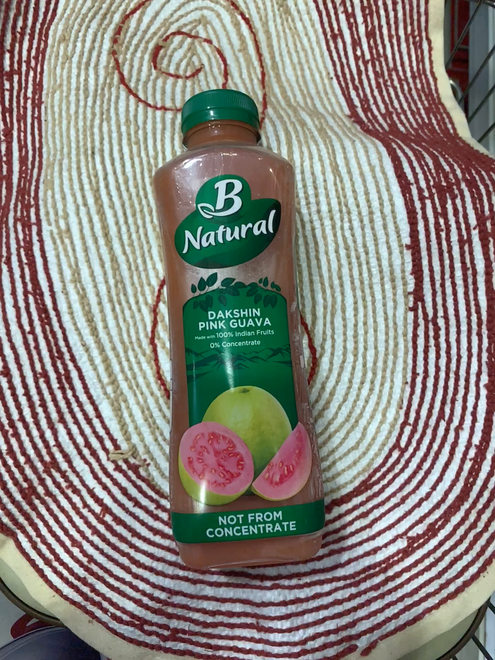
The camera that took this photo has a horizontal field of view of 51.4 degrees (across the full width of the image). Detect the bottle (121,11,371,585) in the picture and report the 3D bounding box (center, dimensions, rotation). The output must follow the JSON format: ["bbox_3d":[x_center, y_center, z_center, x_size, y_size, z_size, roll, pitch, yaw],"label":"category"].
[{"bbox_3d":[-0.004,-0.015,0.219,0.080,0.060,0.210,-3,84,-1],"label":"bottle"}]
